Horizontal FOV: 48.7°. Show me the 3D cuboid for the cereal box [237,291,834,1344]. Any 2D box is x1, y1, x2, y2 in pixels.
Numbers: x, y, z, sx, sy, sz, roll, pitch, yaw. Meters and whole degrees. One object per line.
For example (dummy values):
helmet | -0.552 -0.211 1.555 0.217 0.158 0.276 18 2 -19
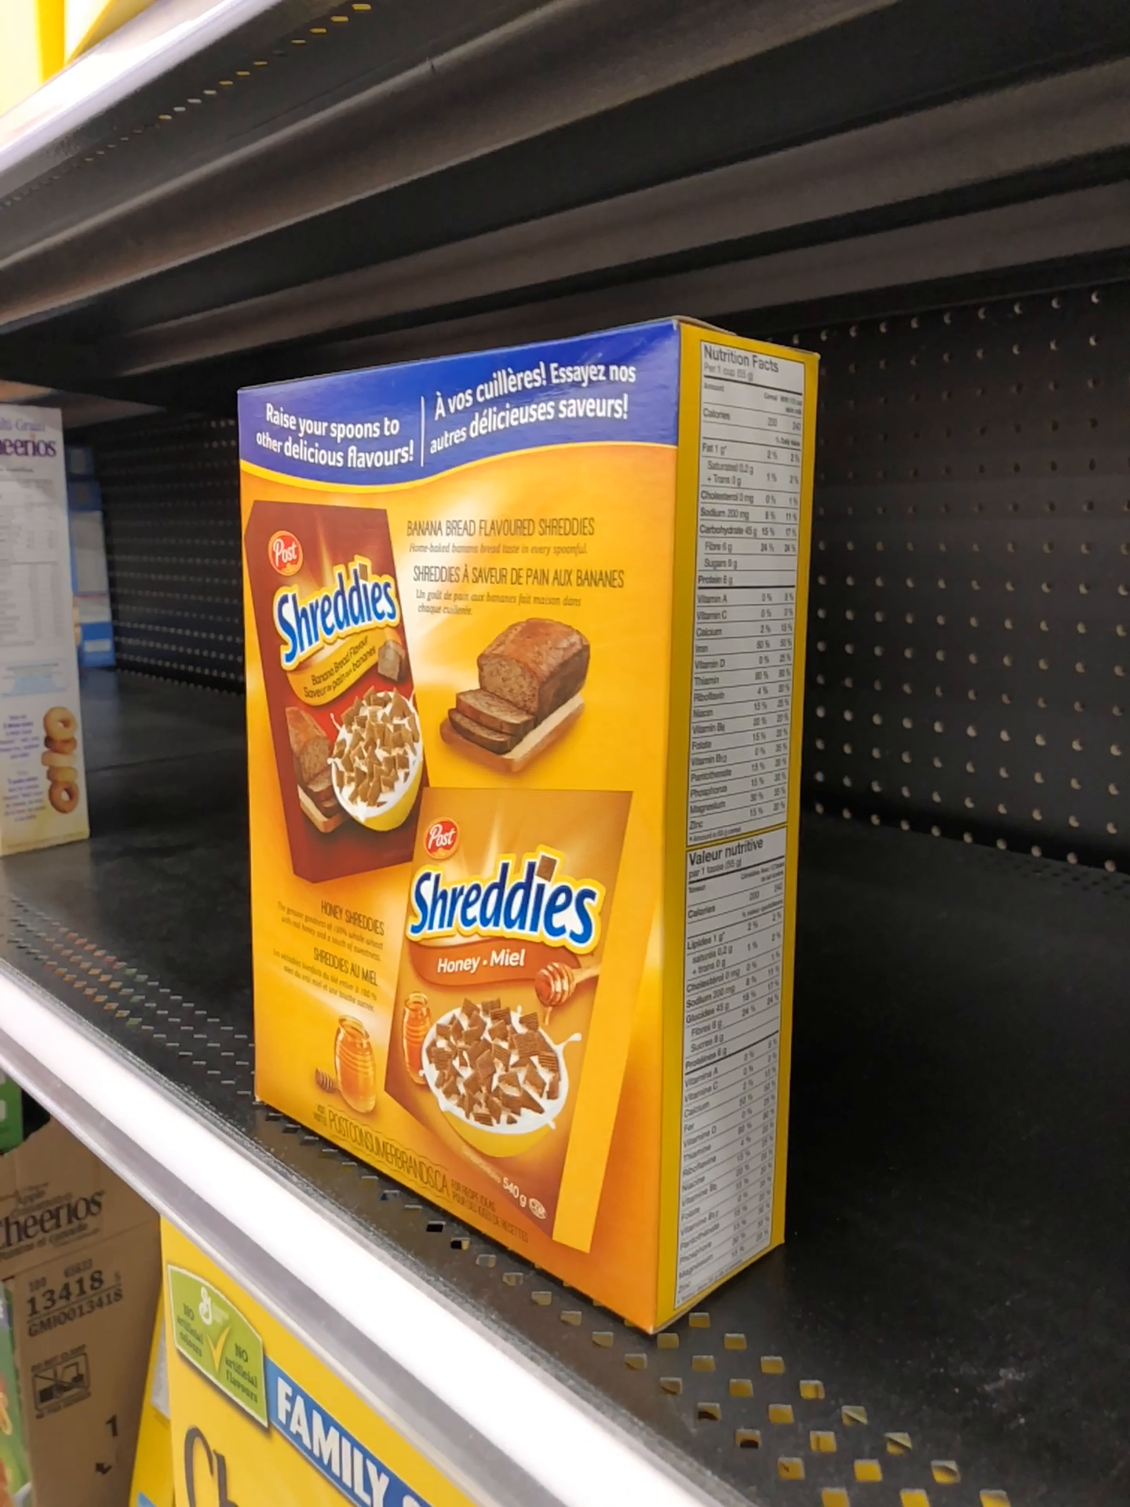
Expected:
cereal box | -0.024 0.008 0.409 0.060 0.269 0.210 -7 11 -44
